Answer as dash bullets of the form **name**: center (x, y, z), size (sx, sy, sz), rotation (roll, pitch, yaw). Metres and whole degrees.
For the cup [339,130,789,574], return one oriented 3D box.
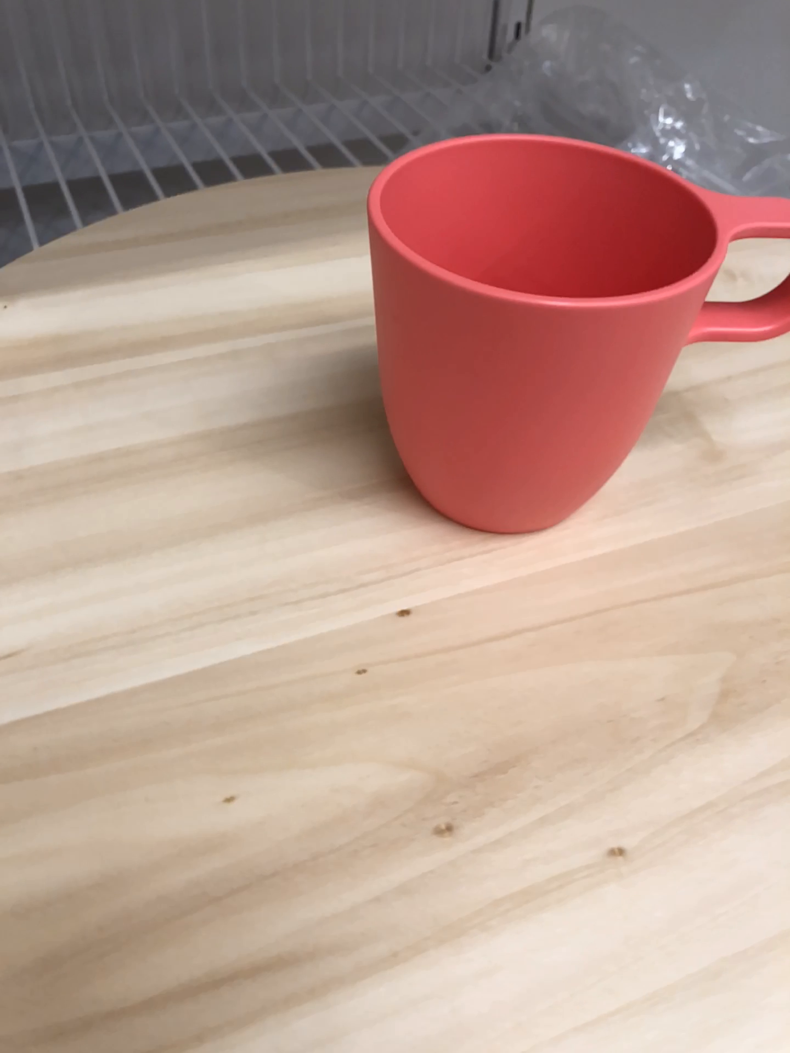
- **cup**: center (0.044, -0.048, 0.233), size (0.110, 0.080, 0.080), rotation (-4, 44, -6)
